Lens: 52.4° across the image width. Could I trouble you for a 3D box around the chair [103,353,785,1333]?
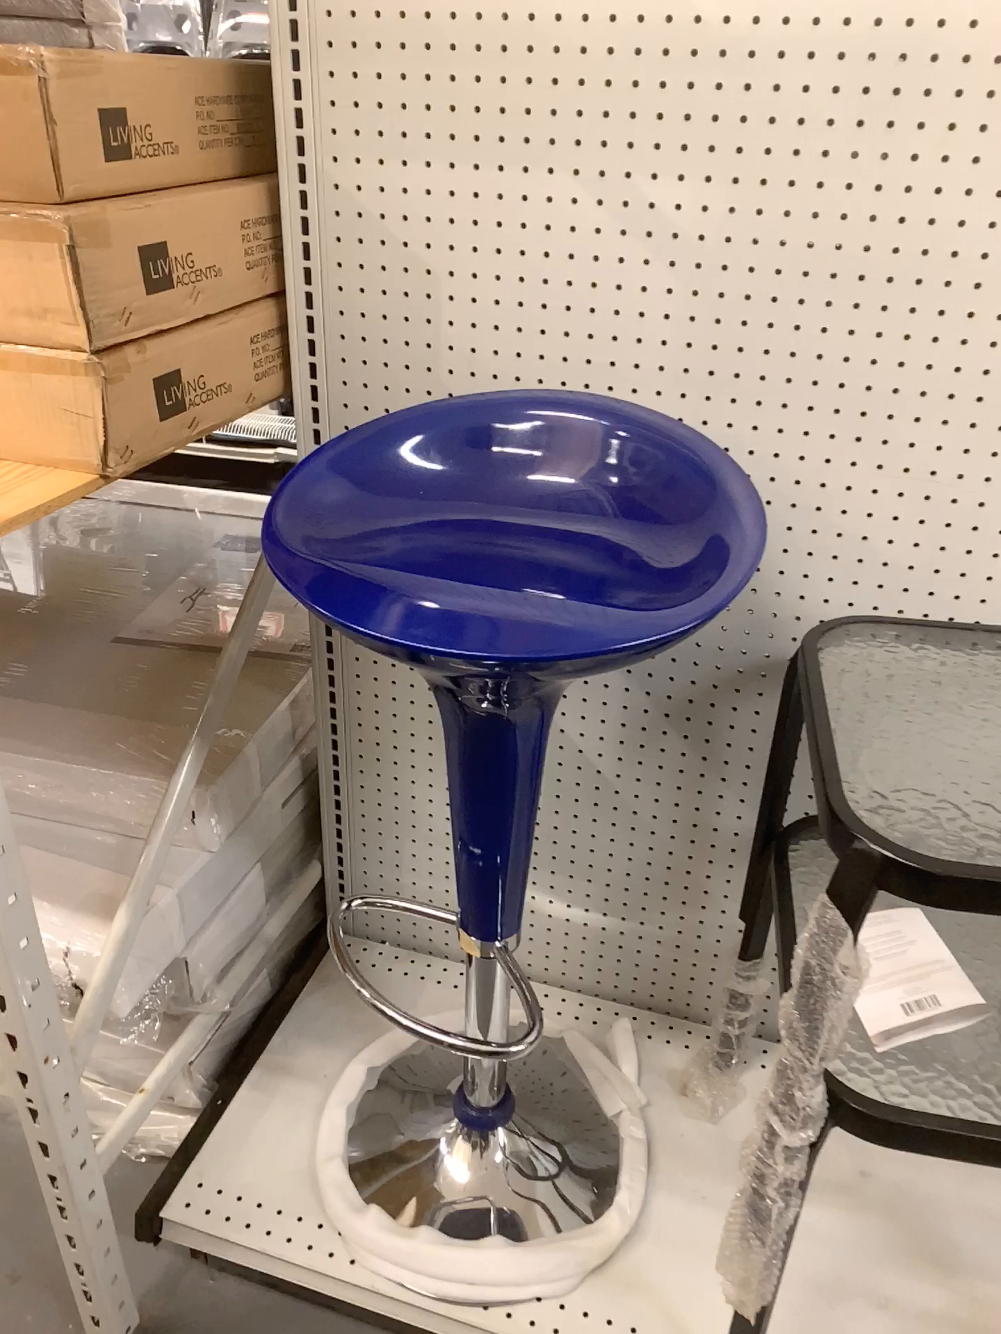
[{"bbox_3d":[-0.016,0.182,1.021,0.434,0.852,0.419,10,29,14],"label":"chair"}]
